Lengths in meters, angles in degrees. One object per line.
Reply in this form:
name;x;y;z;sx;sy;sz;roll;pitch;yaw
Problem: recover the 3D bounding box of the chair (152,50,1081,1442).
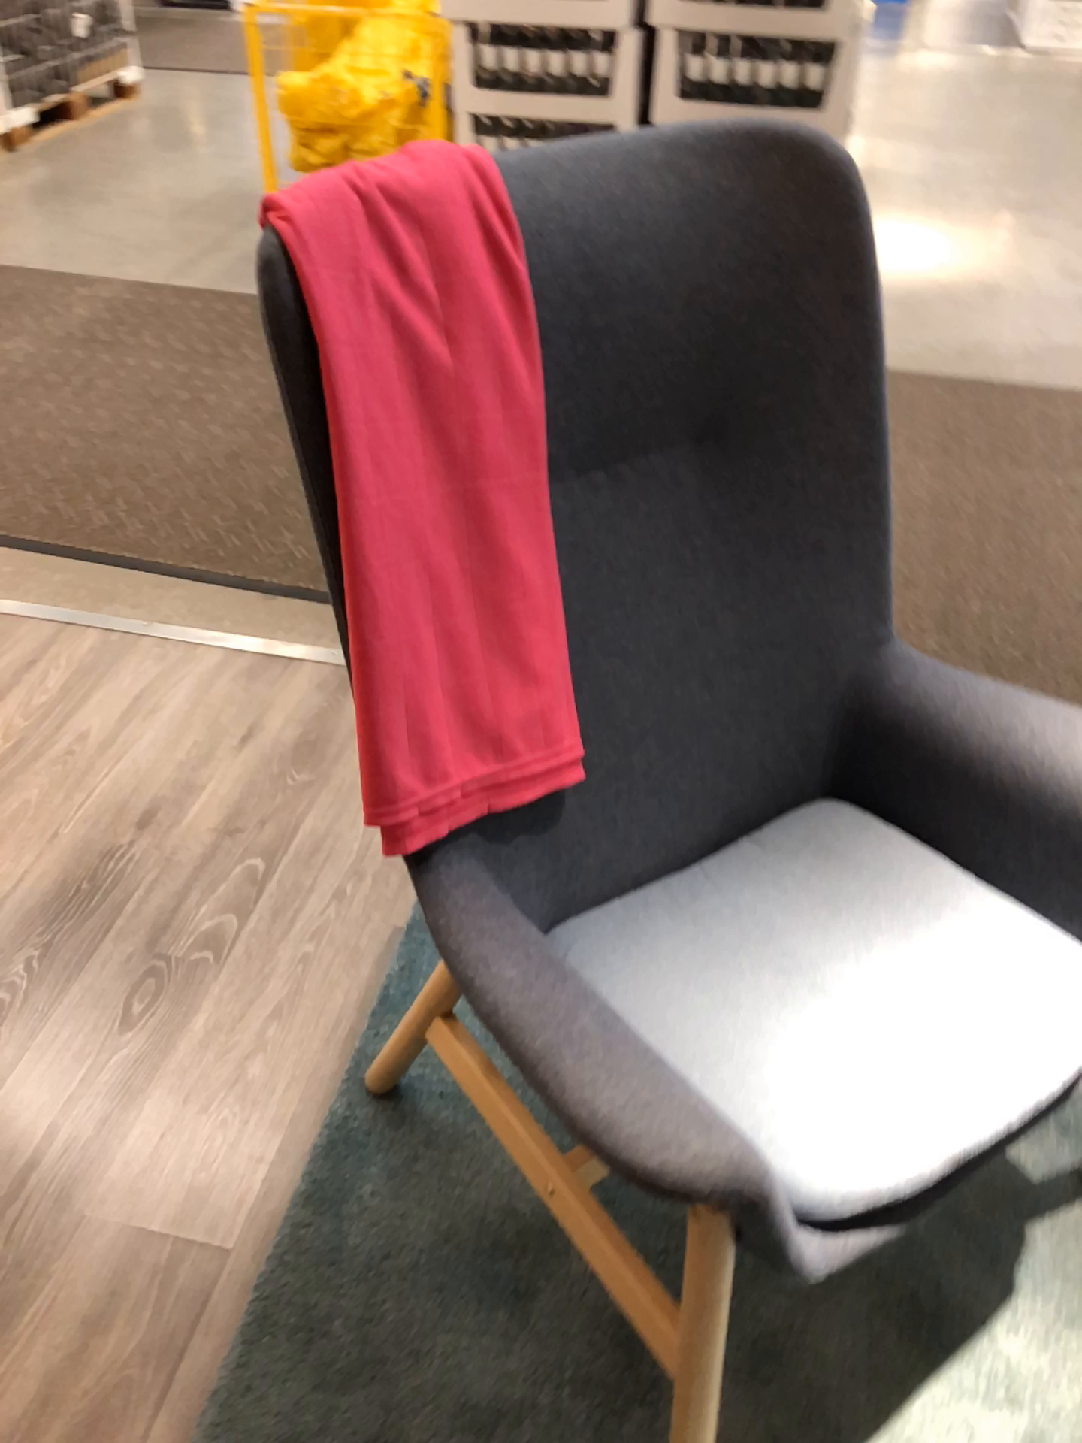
chair;0.259;0.055;1.063;0.791;0.996;0.702;-23;44;-27
